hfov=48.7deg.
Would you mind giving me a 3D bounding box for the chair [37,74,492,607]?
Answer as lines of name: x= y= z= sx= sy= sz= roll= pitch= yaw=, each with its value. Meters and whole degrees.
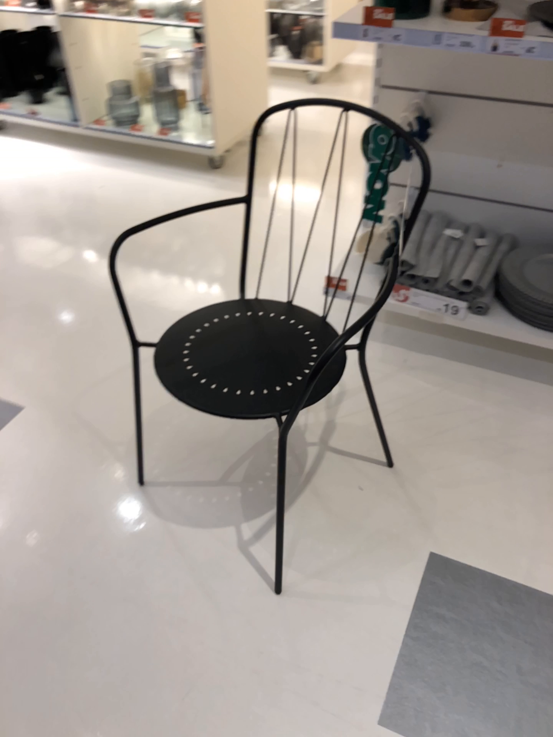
chair: x=-0.001 y=-0.070 z=1.276 sx=0.512 sy=0.813 sz=0.562 roll=29 pitch=49 yaw=31
